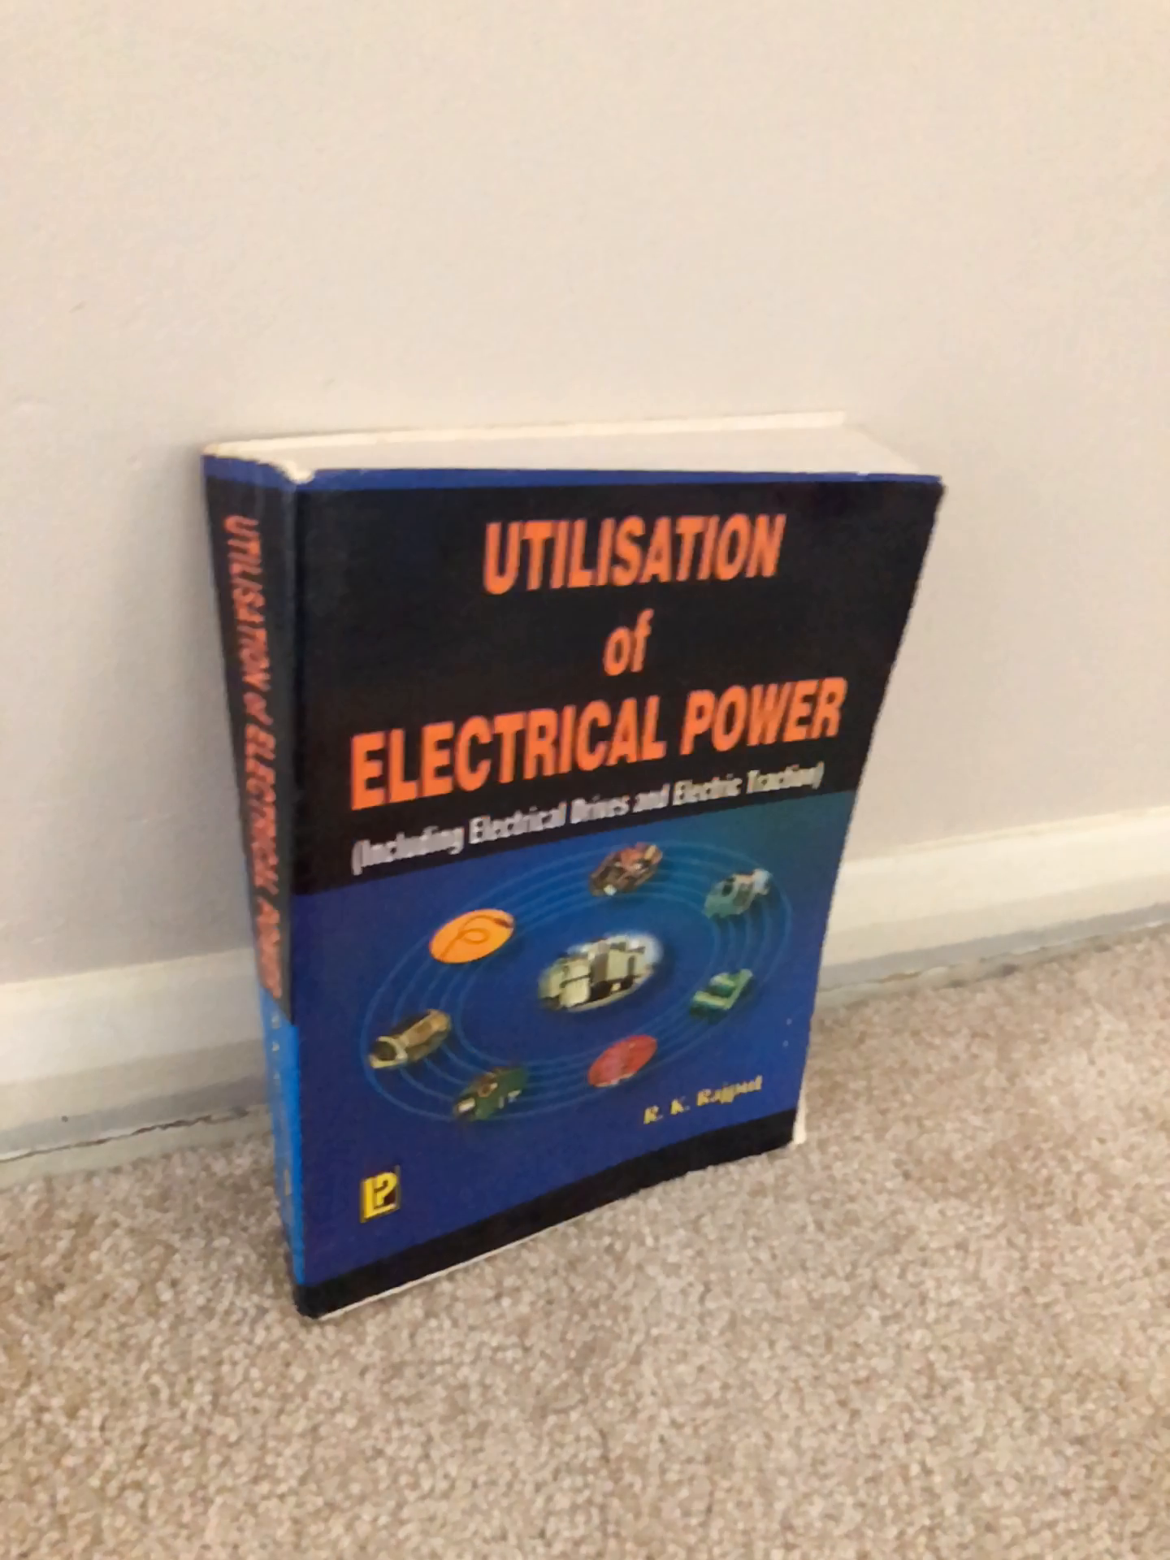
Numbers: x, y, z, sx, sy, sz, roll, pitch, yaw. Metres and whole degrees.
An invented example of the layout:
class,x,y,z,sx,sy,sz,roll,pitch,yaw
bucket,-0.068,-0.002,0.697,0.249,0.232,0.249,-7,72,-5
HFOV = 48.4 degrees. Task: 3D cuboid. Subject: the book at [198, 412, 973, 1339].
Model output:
class,x,y,z,sx,sy,sz,roll,pitch,yaw
book,0.000,0.021,0.366,0.191,0.229,0.050,-10,28,-28
